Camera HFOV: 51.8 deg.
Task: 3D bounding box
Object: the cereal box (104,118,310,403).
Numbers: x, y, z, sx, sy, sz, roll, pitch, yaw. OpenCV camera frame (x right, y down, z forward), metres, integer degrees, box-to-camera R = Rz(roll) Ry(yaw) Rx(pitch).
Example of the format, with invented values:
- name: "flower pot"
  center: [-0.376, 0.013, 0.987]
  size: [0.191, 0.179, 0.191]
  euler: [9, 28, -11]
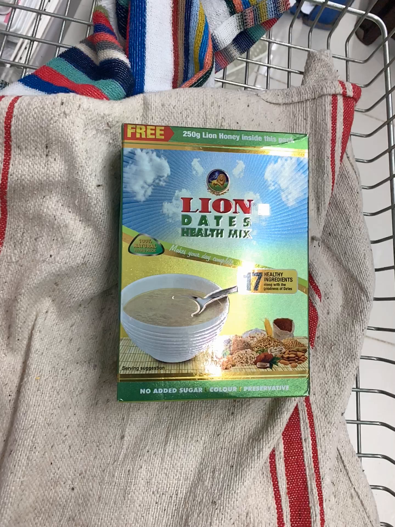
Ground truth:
- name: "cereal box"
  center: [0.004, -0.001, 0.324]
  size: [0.140, 0.090, 0.190]
  euler: [1, 87, -7]
